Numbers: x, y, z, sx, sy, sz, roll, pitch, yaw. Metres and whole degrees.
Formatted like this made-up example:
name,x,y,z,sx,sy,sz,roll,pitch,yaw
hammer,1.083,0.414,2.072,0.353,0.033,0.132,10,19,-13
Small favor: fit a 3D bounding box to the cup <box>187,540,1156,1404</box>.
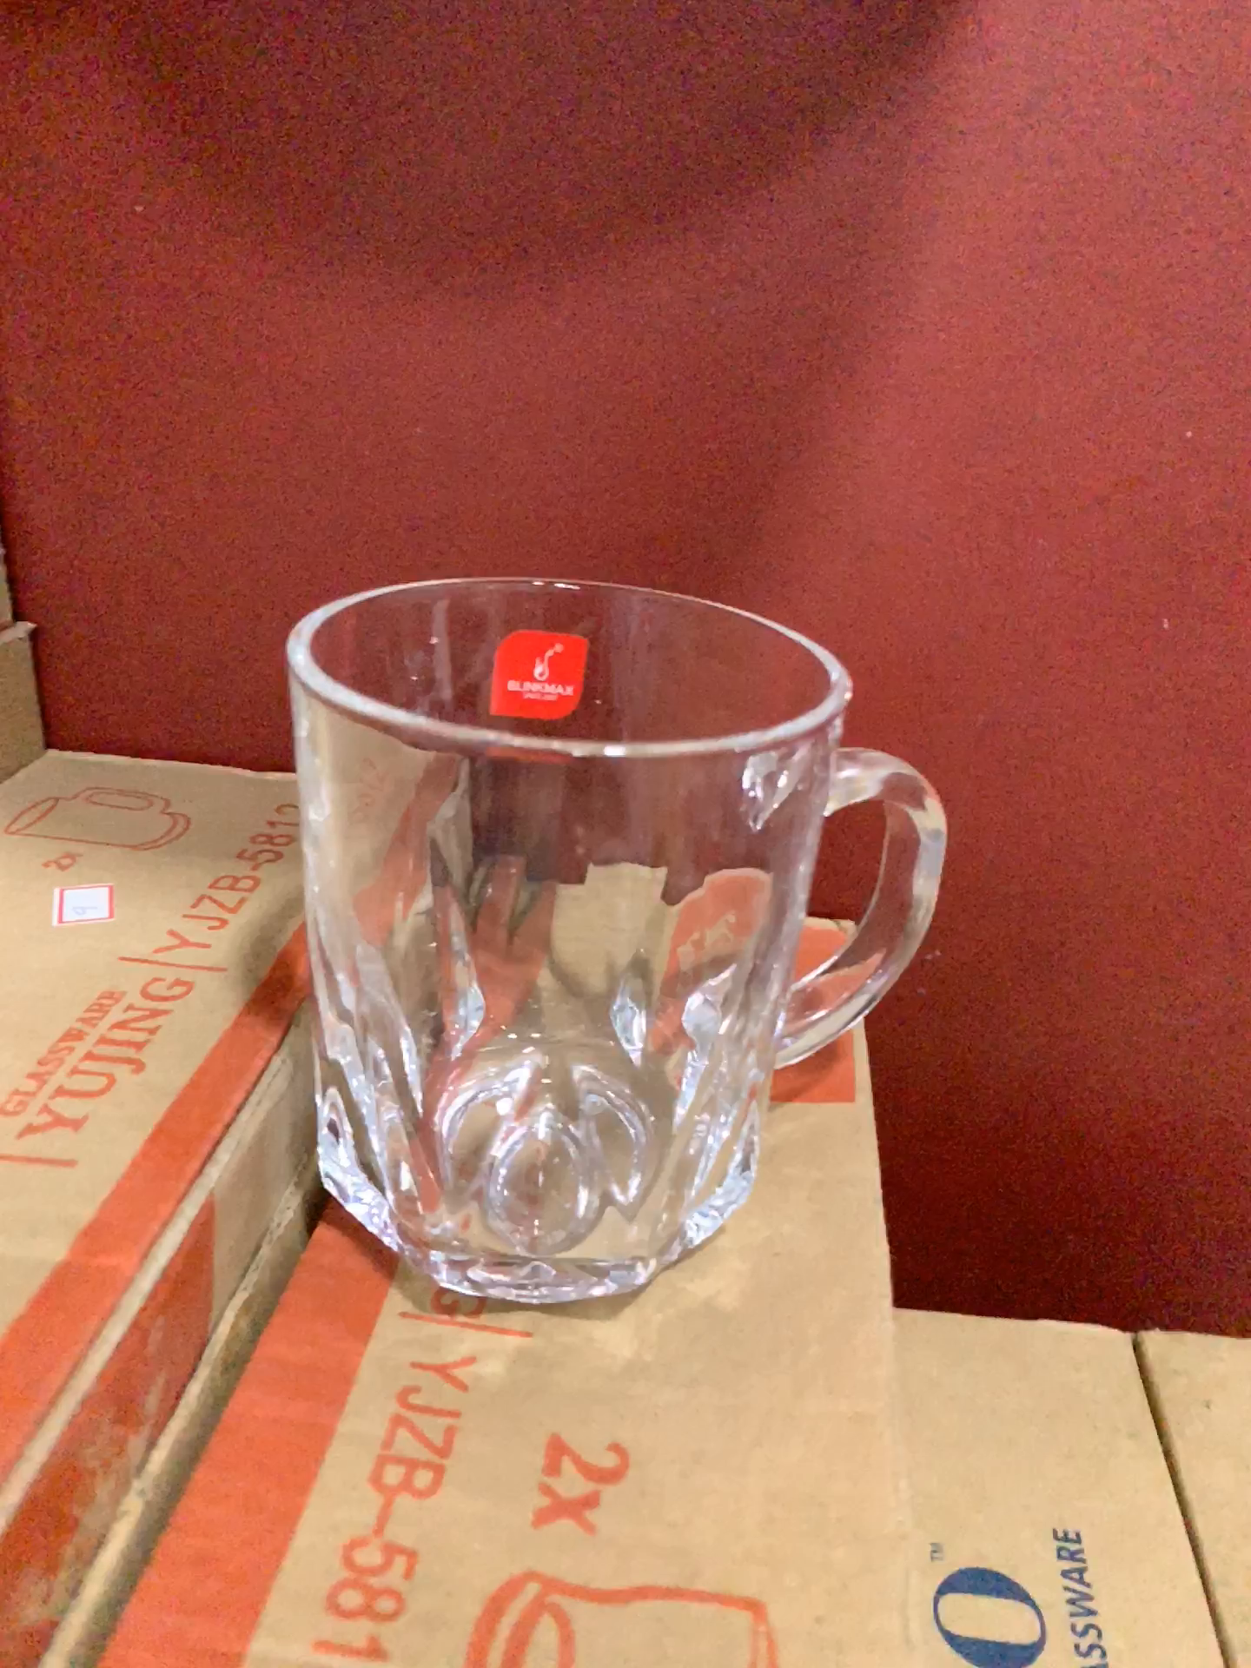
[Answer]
name,x,y,z,sx,sy,sz,roll,pitch,yaw
cup,0.003,0.007,0.177,0.100,0.072,0.069,-12,28,-29
